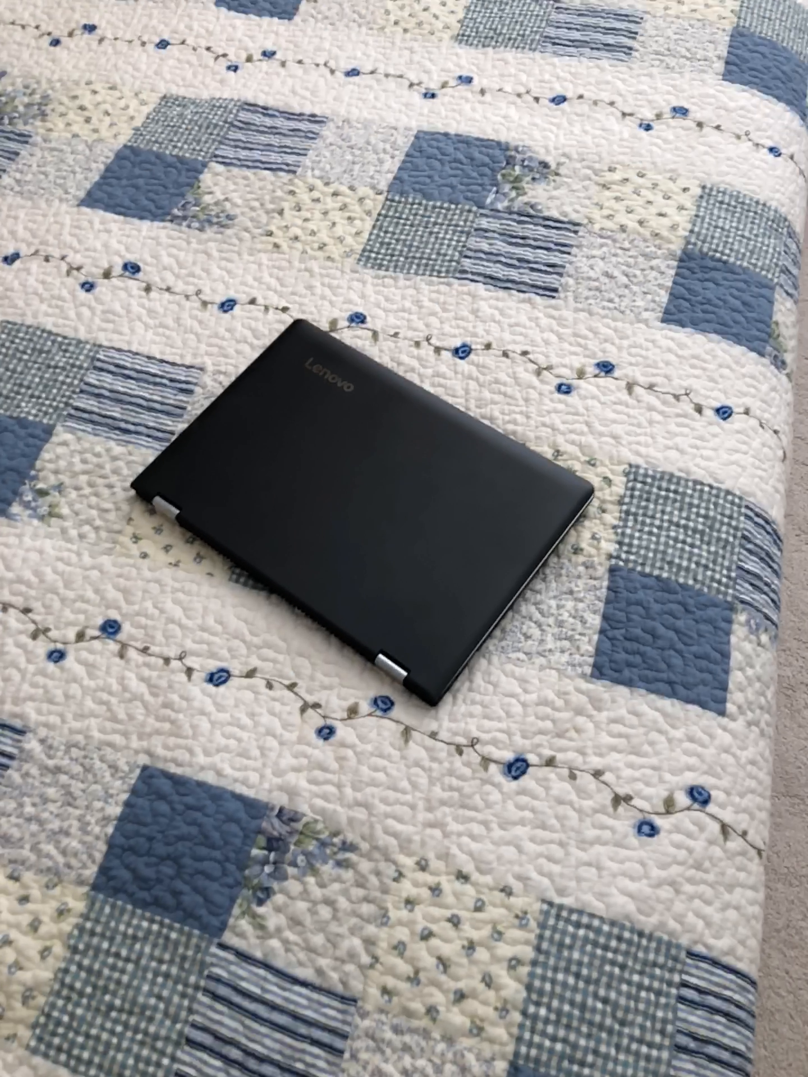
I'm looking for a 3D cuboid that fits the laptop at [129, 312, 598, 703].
[{"bbox_3d":[-0.038,-0.045,0.736,0.321,0.008,0.224,33,71,20],"label":"laptop"}]
